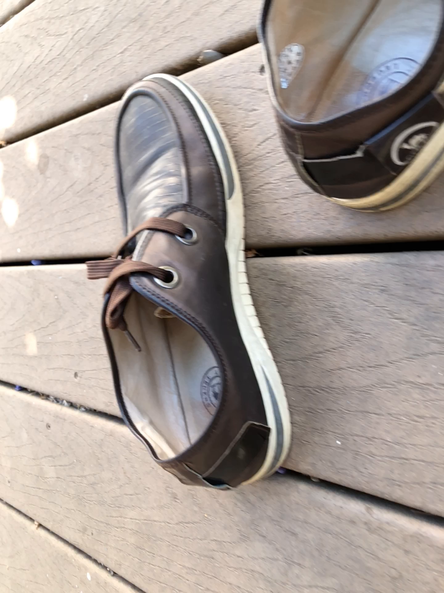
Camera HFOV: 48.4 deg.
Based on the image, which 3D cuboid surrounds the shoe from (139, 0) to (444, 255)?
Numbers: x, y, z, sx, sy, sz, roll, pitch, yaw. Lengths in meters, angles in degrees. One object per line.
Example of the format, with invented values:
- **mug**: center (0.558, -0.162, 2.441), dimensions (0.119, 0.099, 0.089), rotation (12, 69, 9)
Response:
- **shoe**: center (0.100, -0.176, 0.197), dimensions (0.110, 0.116, 0.304), rotation (47, 119, 32)

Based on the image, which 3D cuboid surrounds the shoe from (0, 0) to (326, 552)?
- **shoe**: center (-0.048, -0.012, 0.330), dimensions (0.111, 0.116, 0.301), rotation (-24, 74, 39)
